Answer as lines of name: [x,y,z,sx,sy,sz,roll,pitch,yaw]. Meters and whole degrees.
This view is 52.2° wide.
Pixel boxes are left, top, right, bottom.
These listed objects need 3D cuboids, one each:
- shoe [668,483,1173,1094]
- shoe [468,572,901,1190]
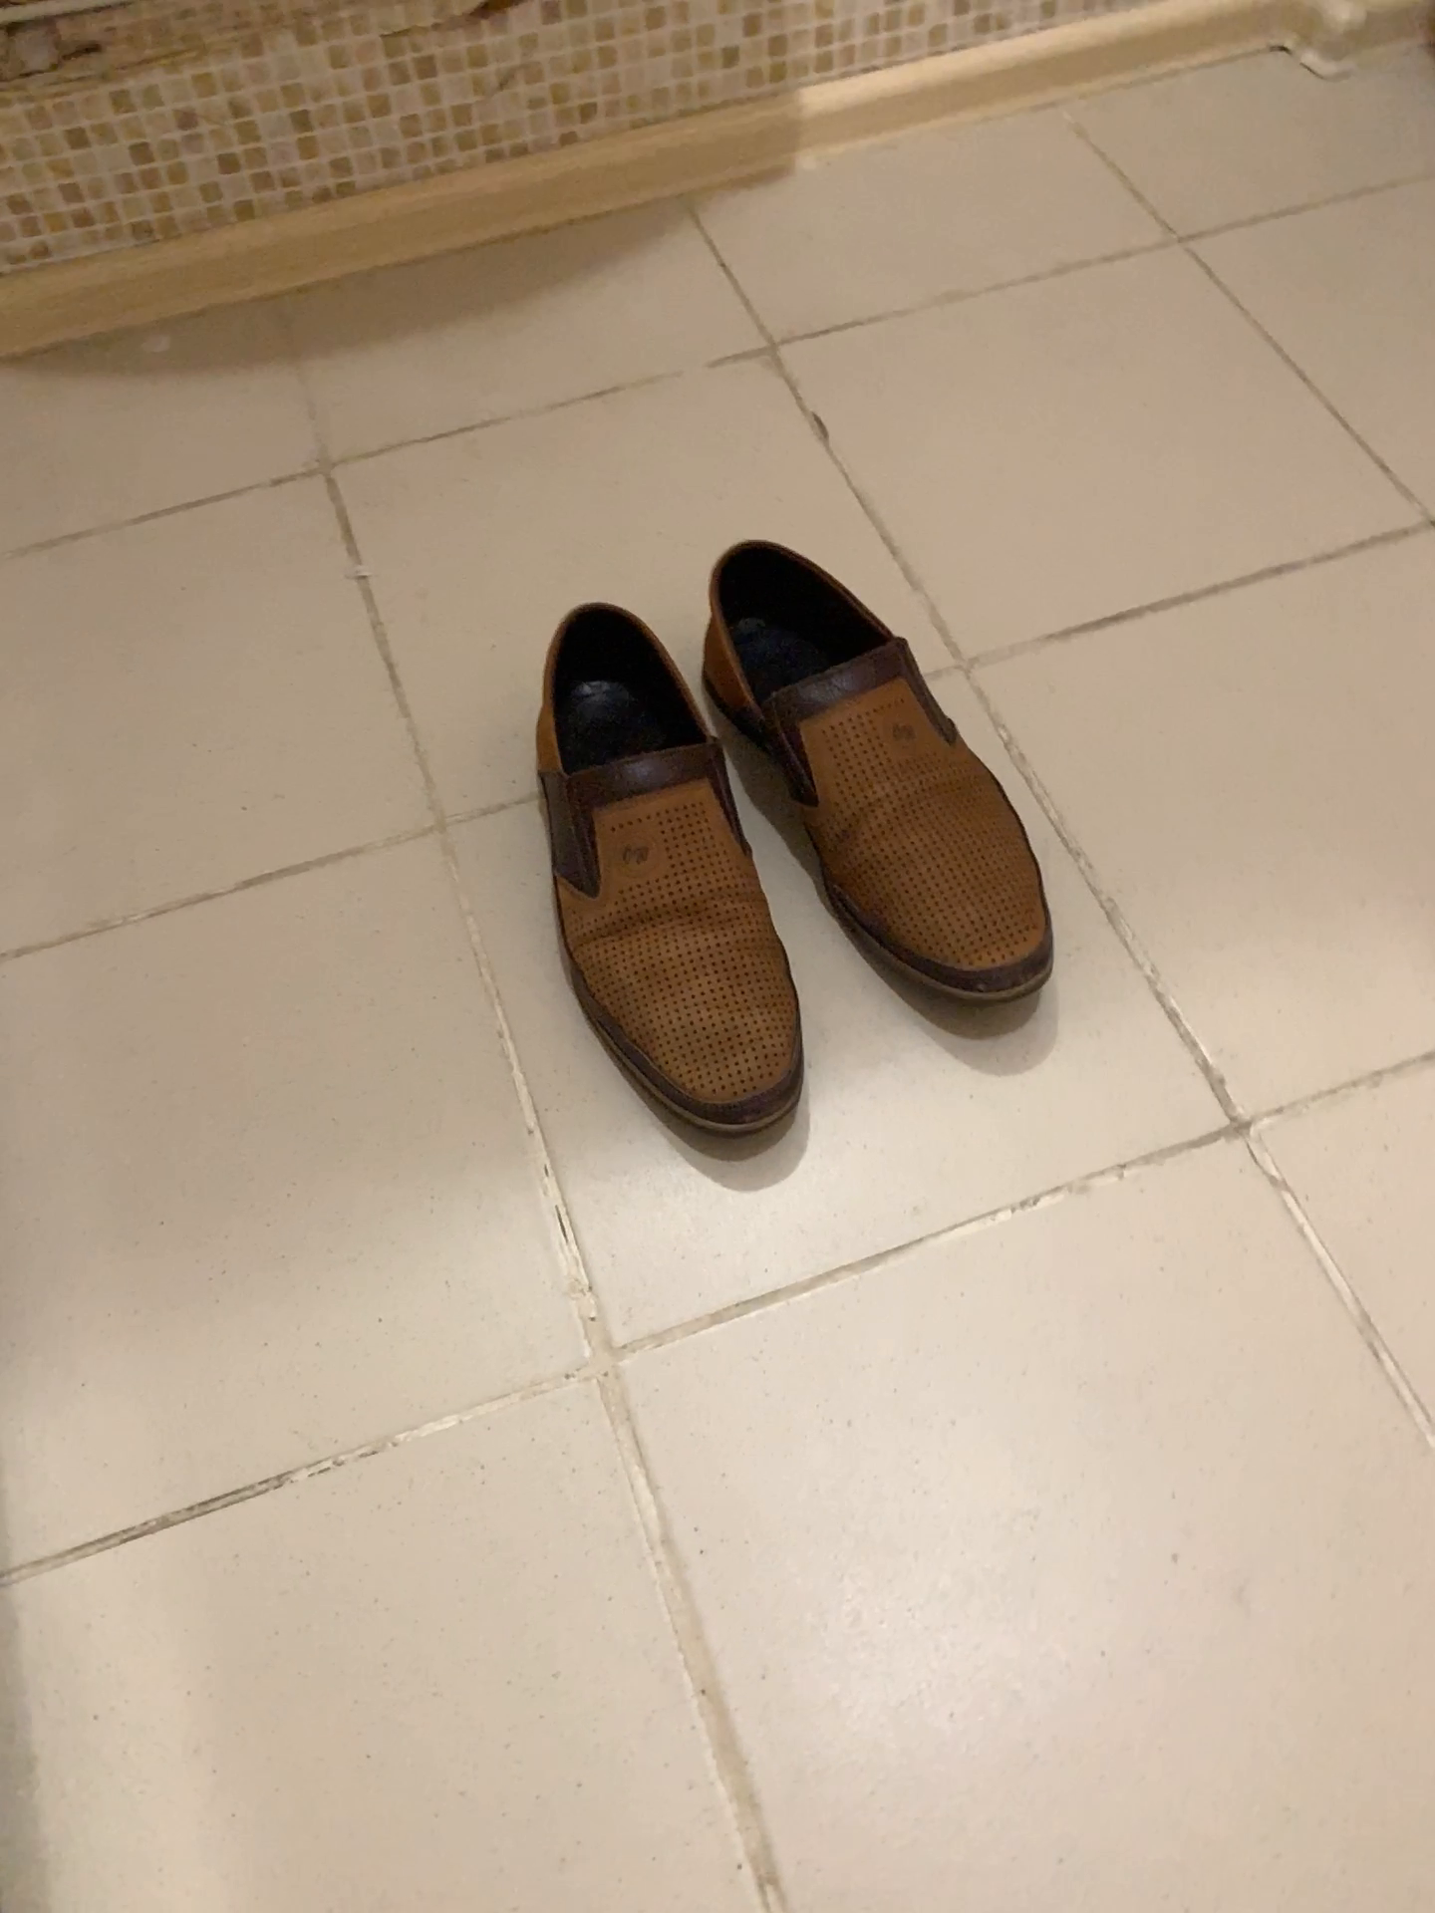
shoe: [0.086,-0.092,0.720,0.110,0.090,0.291,-22,59,-10]
shoe: [-0.022,-0.044,0.676,0.110,0.080,0.271,-18,59,-8]
